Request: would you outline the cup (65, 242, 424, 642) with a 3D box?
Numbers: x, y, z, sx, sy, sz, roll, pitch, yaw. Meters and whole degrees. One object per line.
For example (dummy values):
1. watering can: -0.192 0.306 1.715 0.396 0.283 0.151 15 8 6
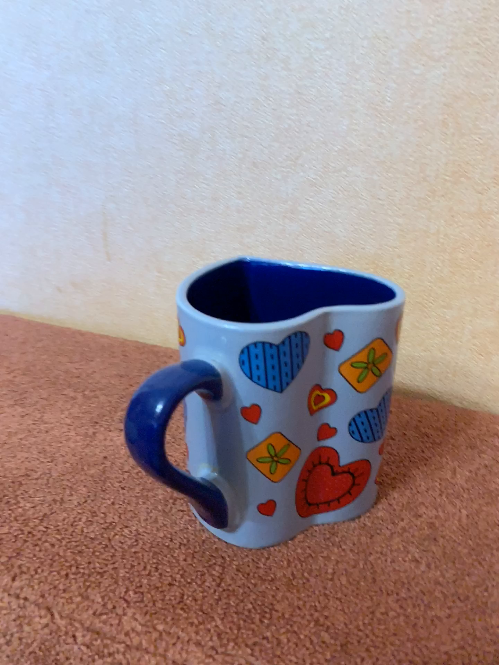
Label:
1. cup: 0.006 0.026 0.196 0.088 0.090 0.098 12 27 26
